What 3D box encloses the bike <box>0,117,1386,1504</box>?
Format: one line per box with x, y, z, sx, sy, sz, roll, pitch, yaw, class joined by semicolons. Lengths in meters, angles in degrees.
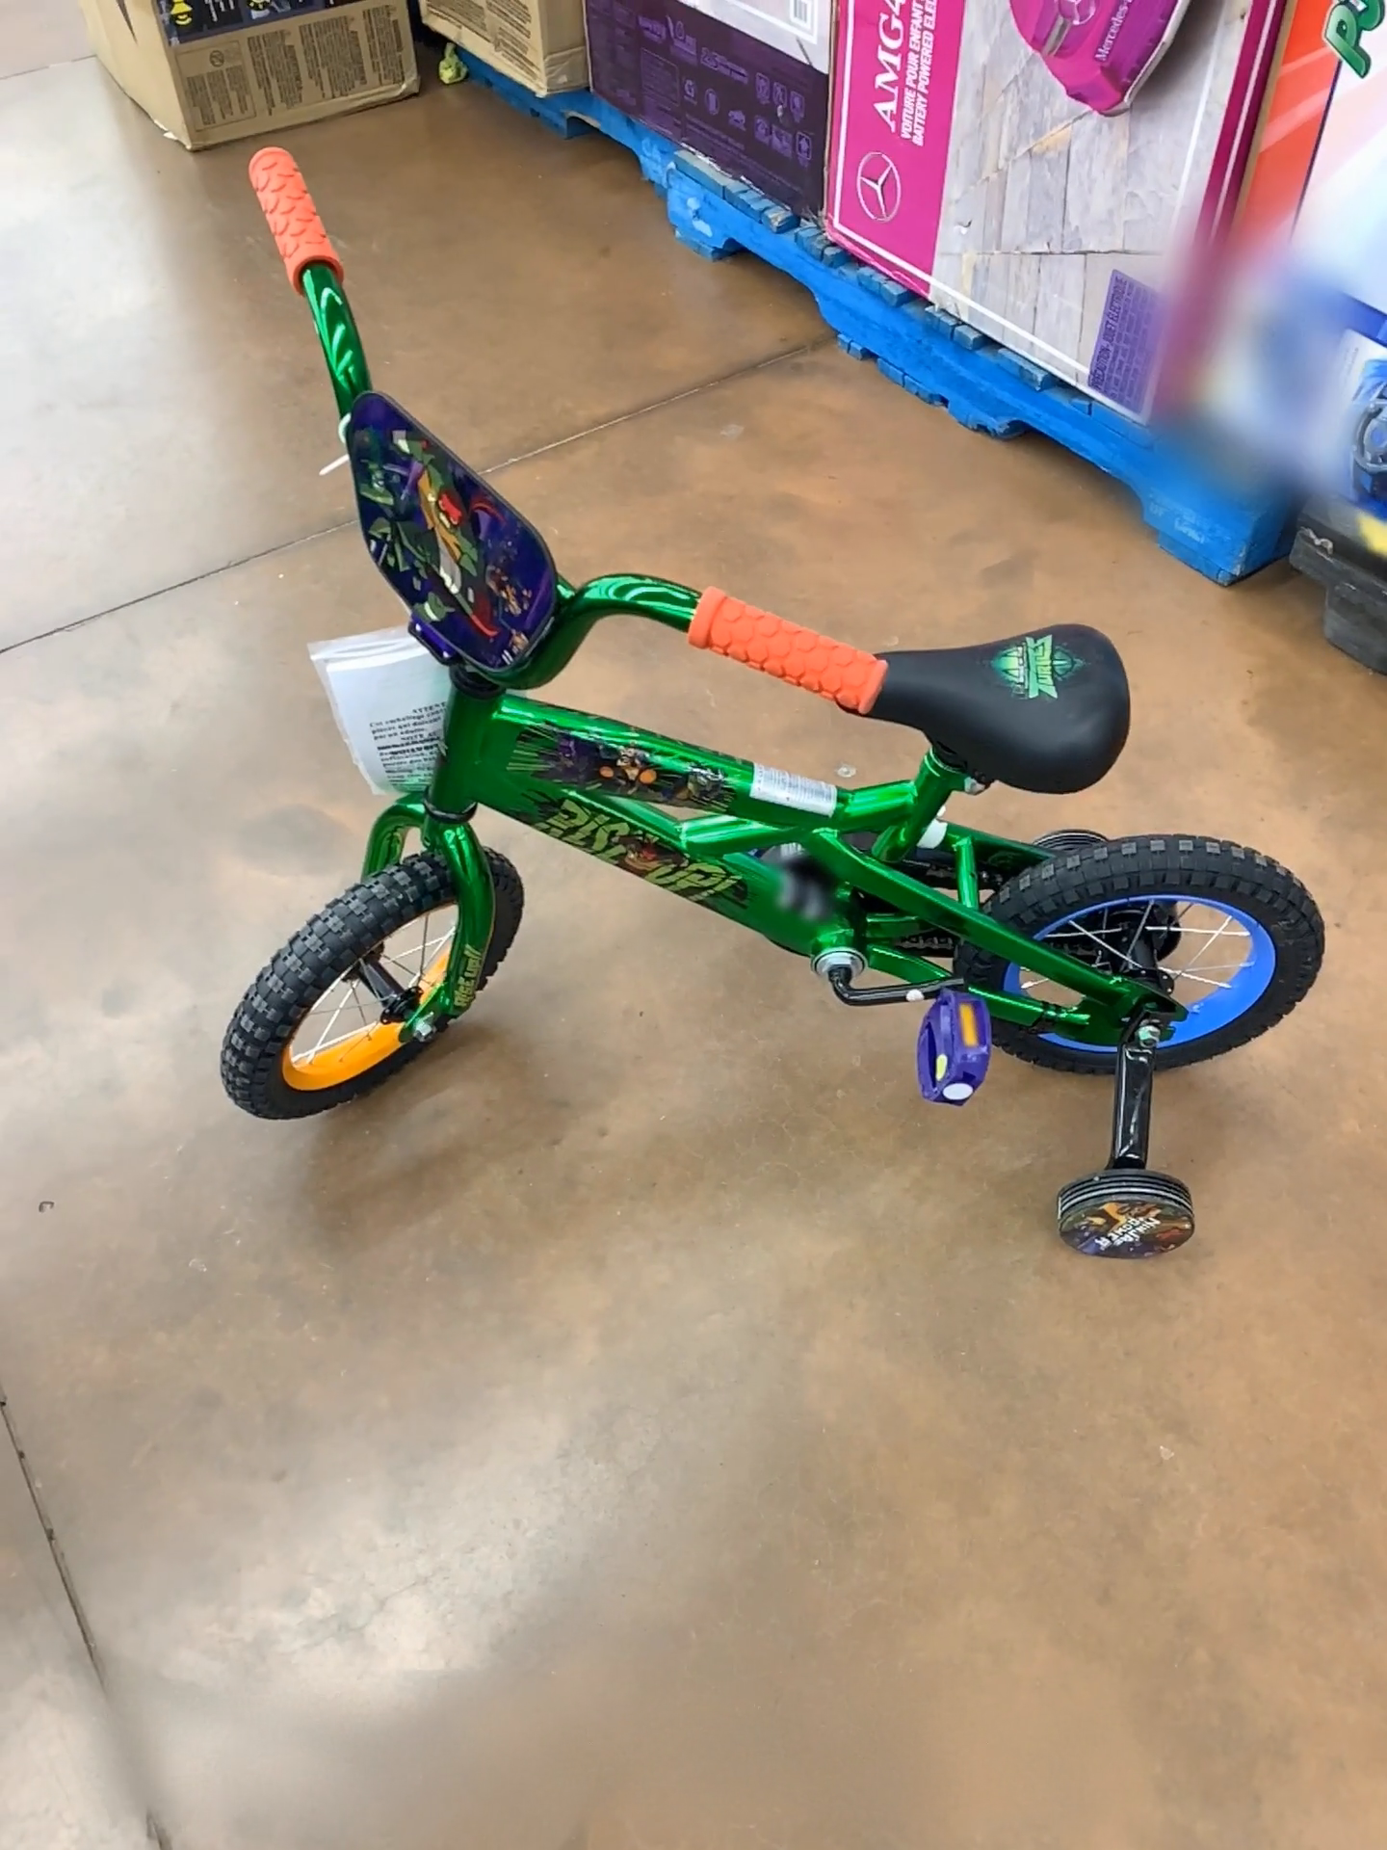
0.079;-0.044;0.921;0.828;0.677;0.533;-2;50;-1;bike
